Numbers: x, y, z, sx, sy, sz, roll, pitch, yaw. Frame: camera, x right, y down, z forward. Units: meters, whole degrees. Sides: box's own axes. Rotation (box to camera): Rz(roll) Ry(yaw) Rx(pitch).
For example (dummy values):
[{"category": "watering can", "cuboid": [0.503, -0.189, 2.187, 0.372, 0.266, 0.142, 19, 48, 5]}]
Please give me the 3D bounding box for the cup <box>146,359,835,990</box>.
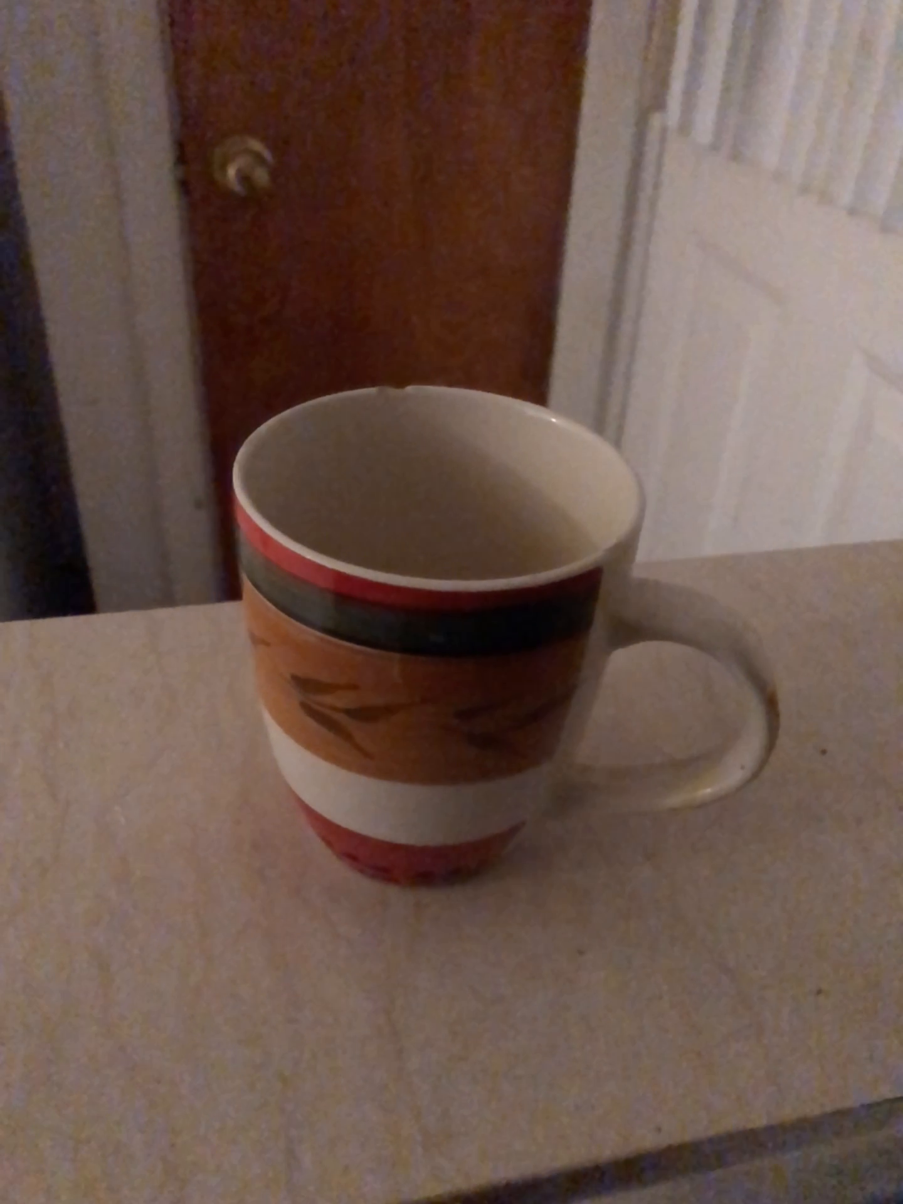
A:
[{"category": "cup", "cuboid": [0.013, 0.013, 0.275, 0.143, 0.109, 0.101, 10, 35, 9]}]
